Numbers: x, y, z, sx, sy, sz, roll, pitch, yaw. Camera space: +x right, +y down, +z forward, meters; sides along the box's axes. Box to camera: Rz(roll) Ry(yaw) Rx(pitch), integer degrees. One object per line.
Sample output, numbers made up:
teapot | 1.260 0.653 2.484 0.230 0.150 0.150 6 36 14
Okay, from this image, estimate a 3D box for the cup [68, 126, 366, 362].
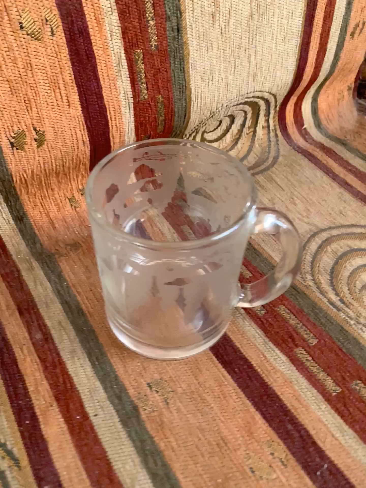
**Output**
cup | 0.013 -0.001 0.199 0.115 0.086 0.085 -1 44 -3
